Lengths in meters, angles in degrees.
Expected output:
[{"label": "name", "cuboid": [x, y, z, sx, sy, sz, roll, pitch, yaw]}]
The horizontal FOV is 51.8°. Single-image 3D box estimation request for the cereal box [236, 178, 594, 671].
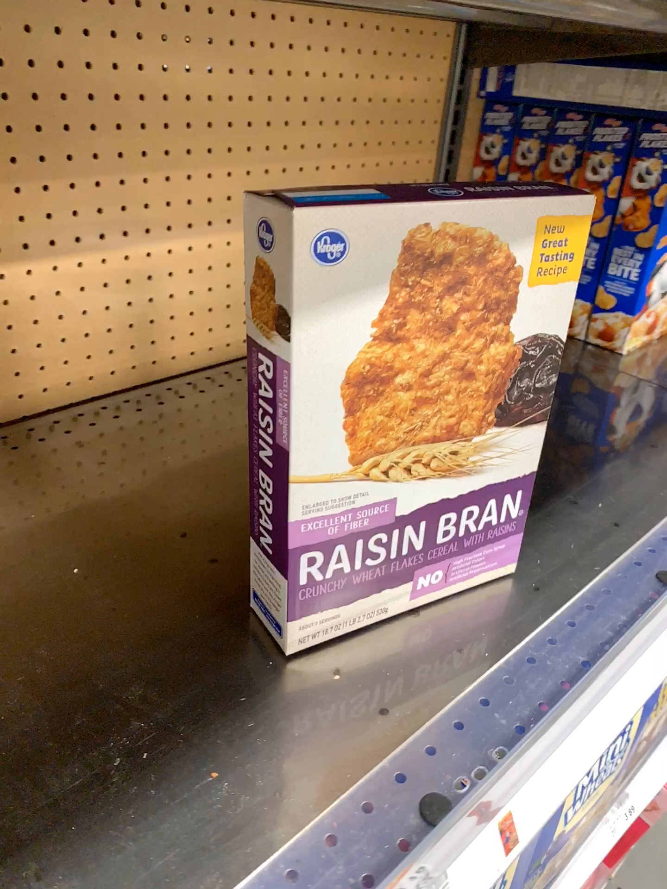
[{"label": "cereal box", "cuboid": [0.041, -0.012, 0.414, 0.190, 0.269, 0.050, -13, 32, -28]}]
